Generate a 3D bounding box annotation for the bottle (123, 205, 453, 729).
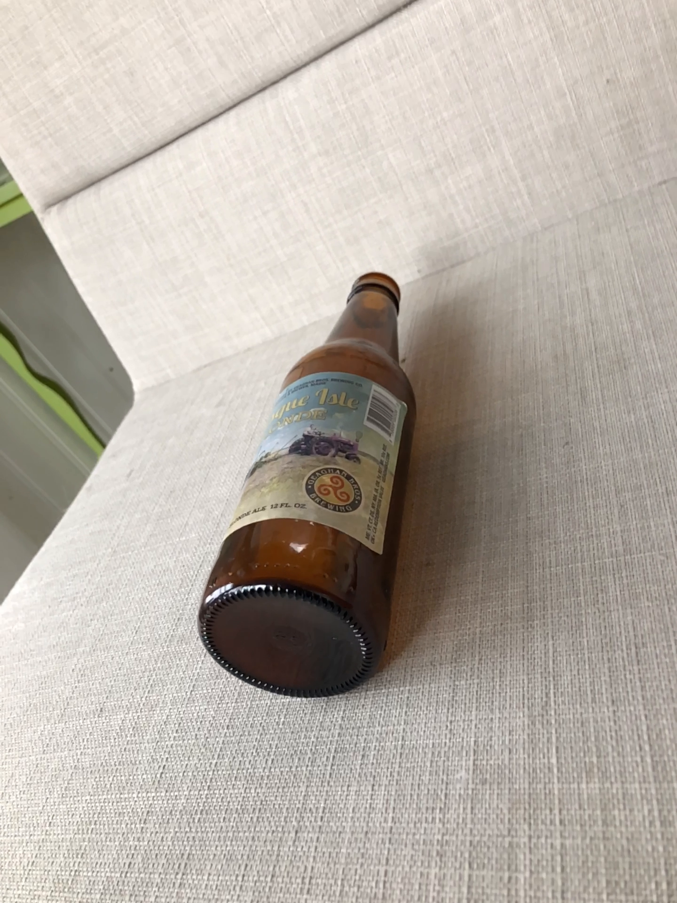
[{"bbox_3d":[-0.003,-0.014,0.312,0.065,0.060,0.232,-29,29,32],"label":"bottle"}]
